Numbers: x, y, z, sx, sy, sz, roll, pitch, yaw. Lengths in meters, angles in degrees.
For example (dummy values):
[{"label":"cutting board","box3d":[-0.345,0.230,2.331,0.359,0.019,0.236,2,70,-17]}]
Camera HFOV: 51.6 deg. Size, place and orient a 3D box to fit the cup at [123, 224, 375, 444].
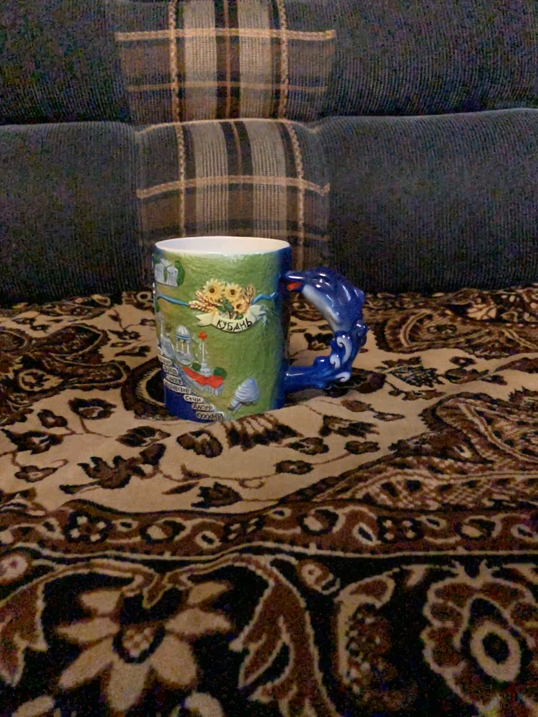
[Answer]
[{"label":"cup","box3d":[-0.006,-0.024,0.345,0.127,0.106,0.090,5,19,16]}]
